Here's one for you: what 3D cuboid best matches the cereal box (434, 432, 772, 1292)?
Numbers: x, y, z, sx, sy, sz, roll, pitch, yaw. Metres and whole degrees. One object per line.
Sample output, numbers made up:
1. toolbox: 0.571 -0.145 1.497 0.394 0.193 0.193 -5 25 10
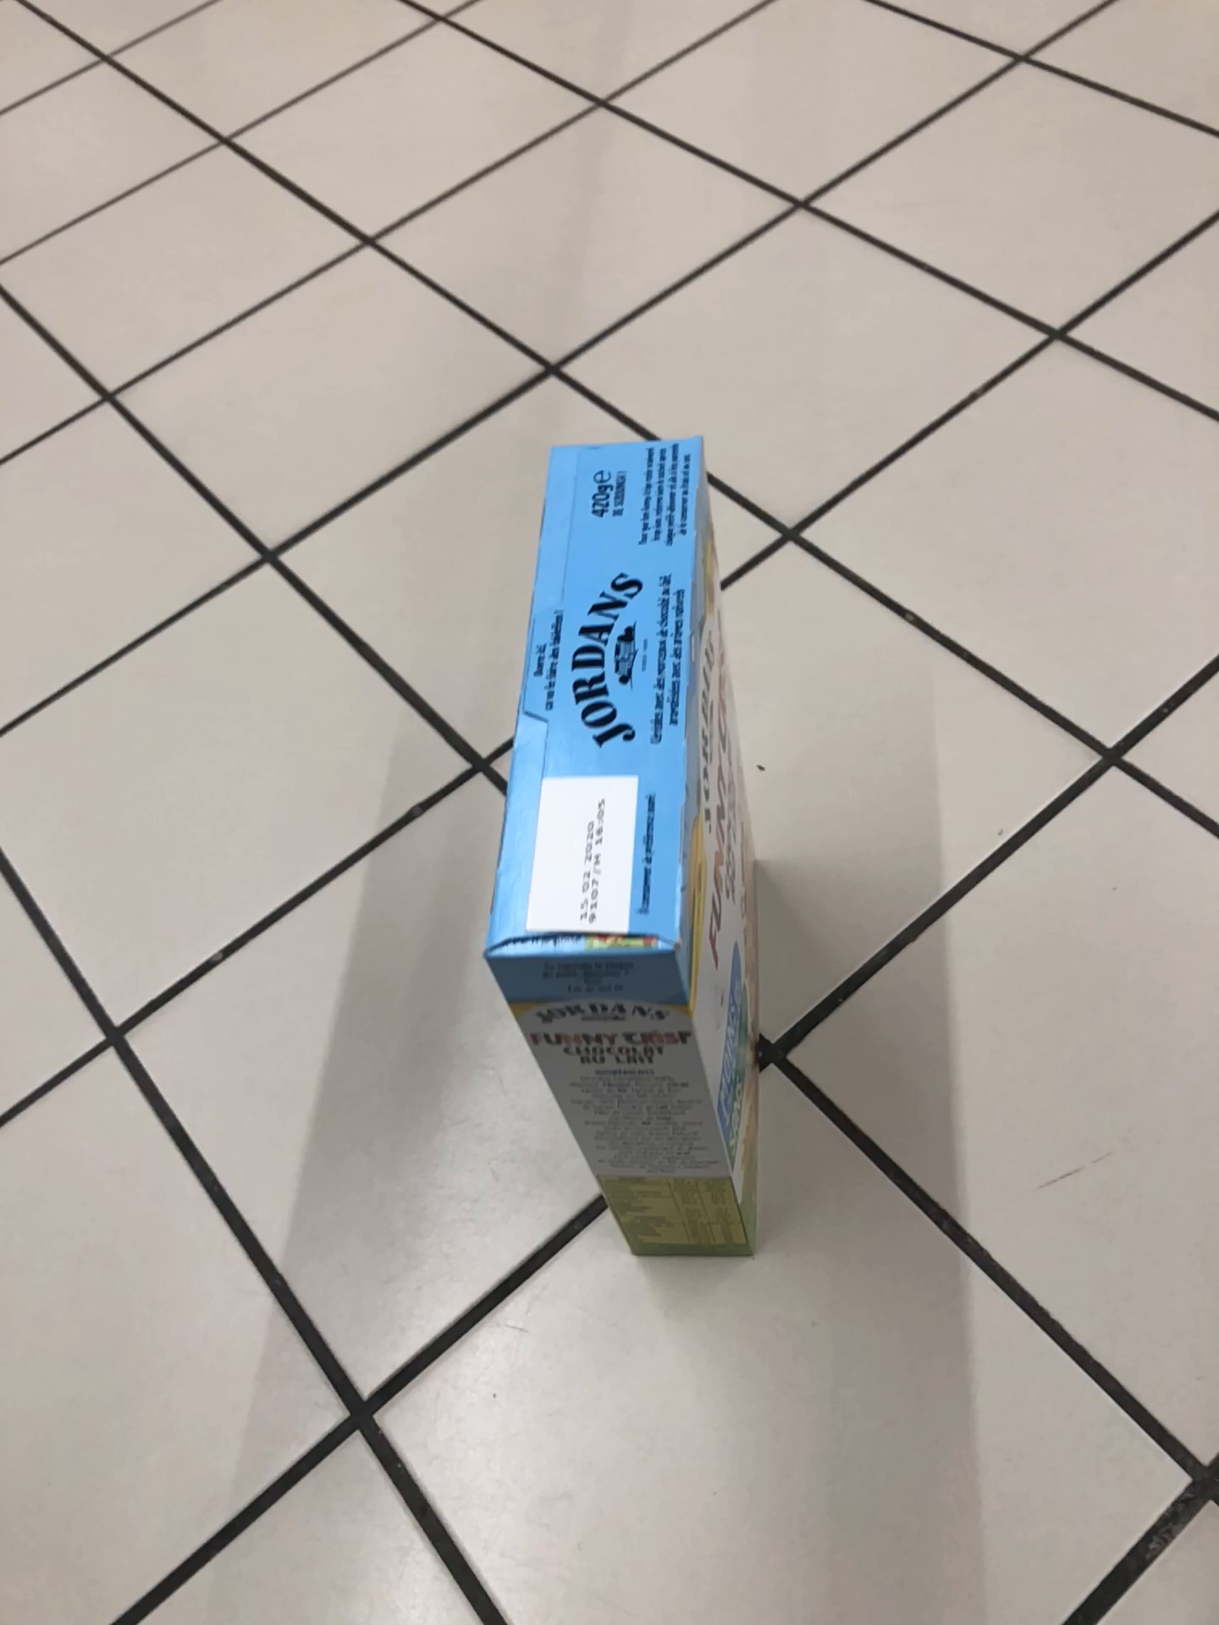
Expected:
1. cereal box: 0.015 0.031 0.434 0.060 0.229 0.181 -2 56 10
